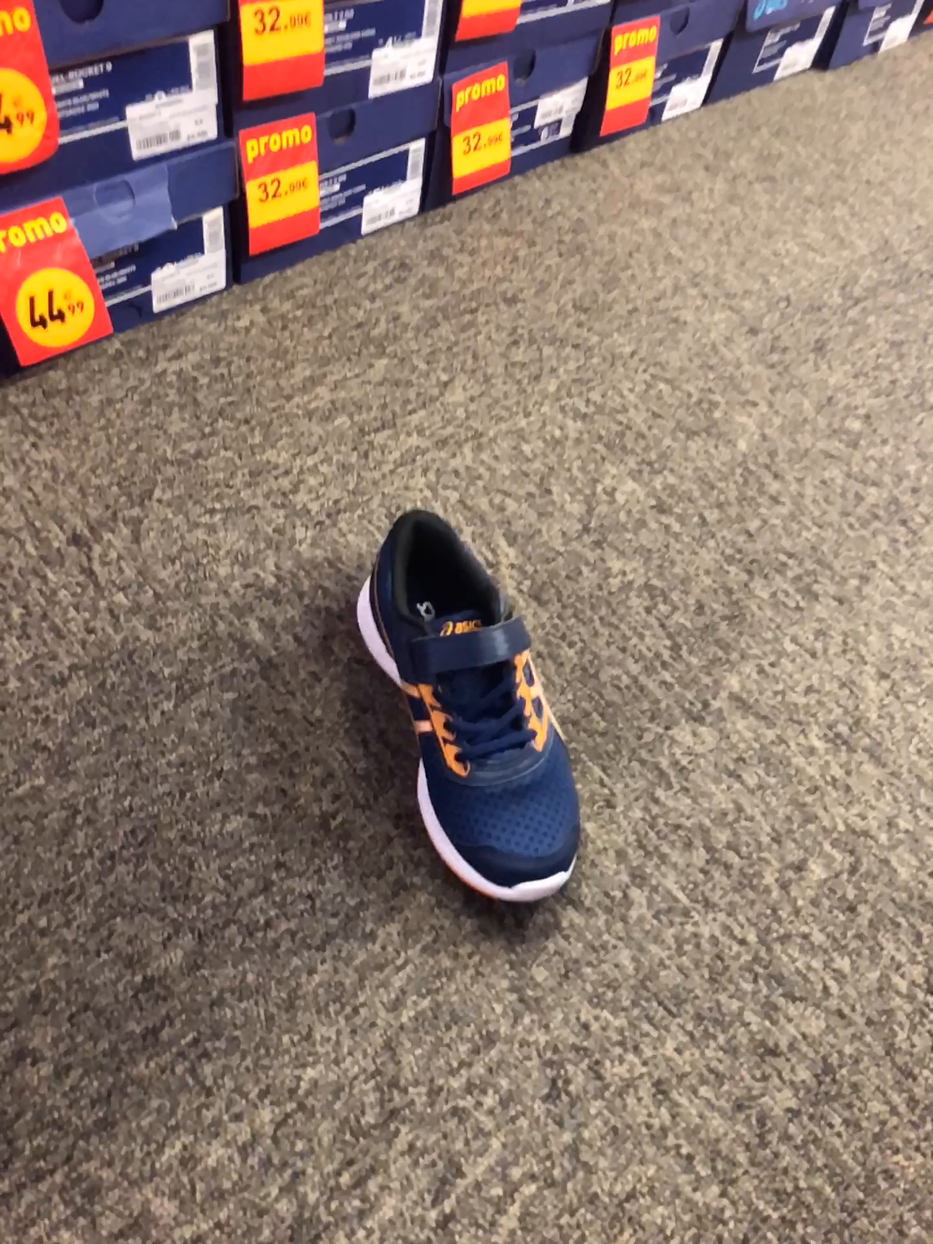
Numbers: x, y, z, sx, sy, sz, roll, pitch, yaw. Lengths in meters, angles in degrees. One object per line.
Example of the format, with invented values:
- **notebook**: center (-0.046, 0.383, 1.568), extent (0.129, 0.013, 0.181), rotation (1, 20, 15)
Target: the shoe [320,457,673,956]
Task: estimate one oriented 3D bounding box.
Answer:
- **shoe**: center (0.002, 0.036, 0.548), extent (0.090, 0.099, 0.236), rotation (-14, 57, -19)
